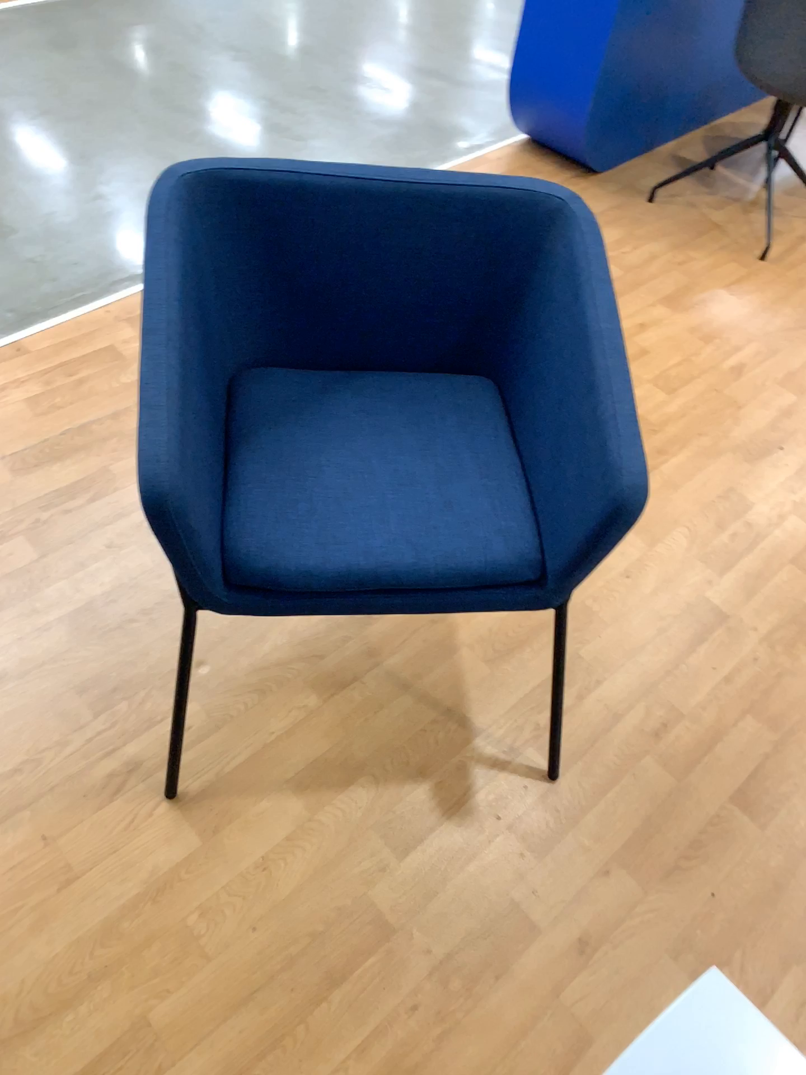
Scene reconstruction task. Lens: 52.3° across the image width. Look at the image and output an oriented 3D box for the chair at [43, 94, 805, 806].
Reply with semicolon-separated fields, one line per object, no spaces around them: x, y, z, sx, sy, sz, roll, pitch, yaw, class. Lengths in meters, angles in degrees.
-0.028;-0.113;1.231;0.700;0.685;0.756;1;50;-9;chair
